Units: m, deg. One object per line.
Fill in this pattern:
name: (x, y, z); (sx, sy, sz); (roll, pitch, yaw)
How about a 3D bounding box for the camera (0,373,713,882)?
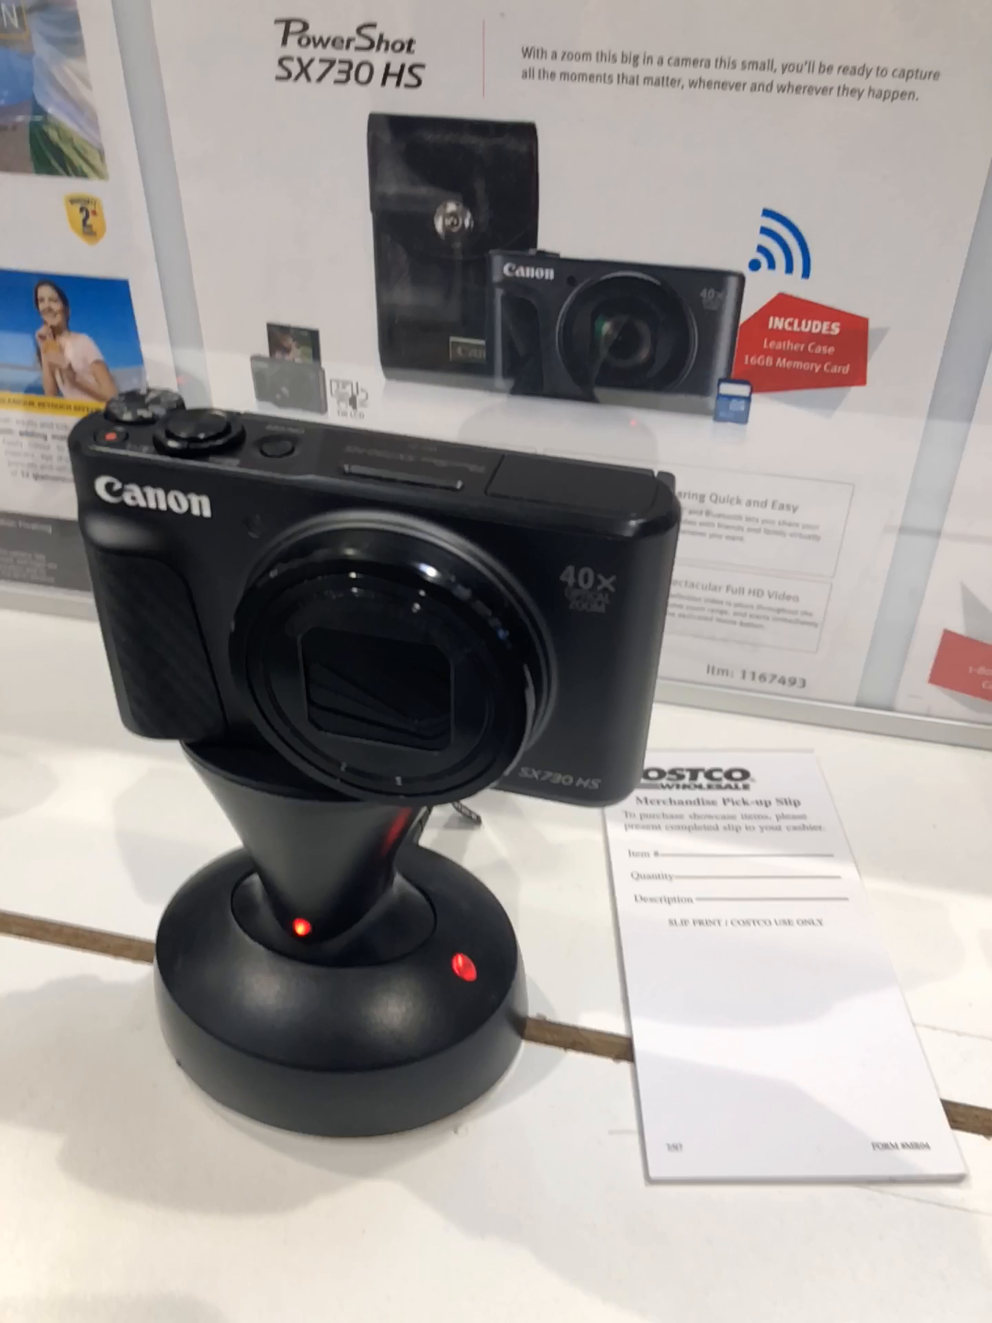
camera: (-0.025, -0.008, 0.214); (0.120, 0.070, 0.040); (10, 37, 11)
